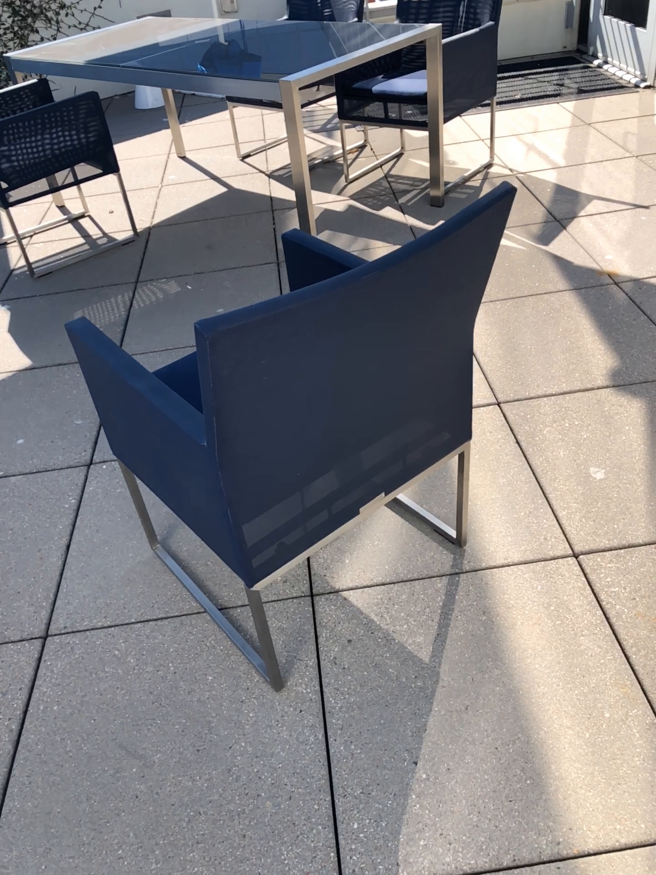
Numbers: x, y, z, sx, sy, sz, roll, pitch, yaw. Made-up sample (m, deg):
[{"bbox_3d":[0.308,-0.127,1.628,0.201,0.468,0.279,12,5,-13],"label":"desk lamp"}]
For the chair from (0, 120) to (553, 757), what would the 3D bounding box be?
[{"bbox_3d":[-0.096,-0.059,1.347,0.651,0.776,0.673,-31,43,-28],"label":"chair"}]
